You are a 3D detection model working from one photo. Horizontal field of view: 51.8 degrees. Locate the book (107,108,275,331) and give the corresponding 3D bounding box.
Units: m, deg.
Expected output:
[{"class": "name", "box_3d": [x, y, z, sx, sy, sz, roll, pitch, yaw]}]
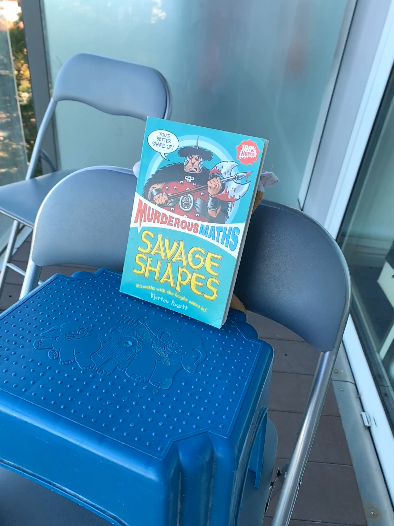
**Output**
[{"class": "book", "box_3d": [-0.012, -0.045, 0.418, 0.134, 0.193, 0.029, 17, 16, 16]}]
